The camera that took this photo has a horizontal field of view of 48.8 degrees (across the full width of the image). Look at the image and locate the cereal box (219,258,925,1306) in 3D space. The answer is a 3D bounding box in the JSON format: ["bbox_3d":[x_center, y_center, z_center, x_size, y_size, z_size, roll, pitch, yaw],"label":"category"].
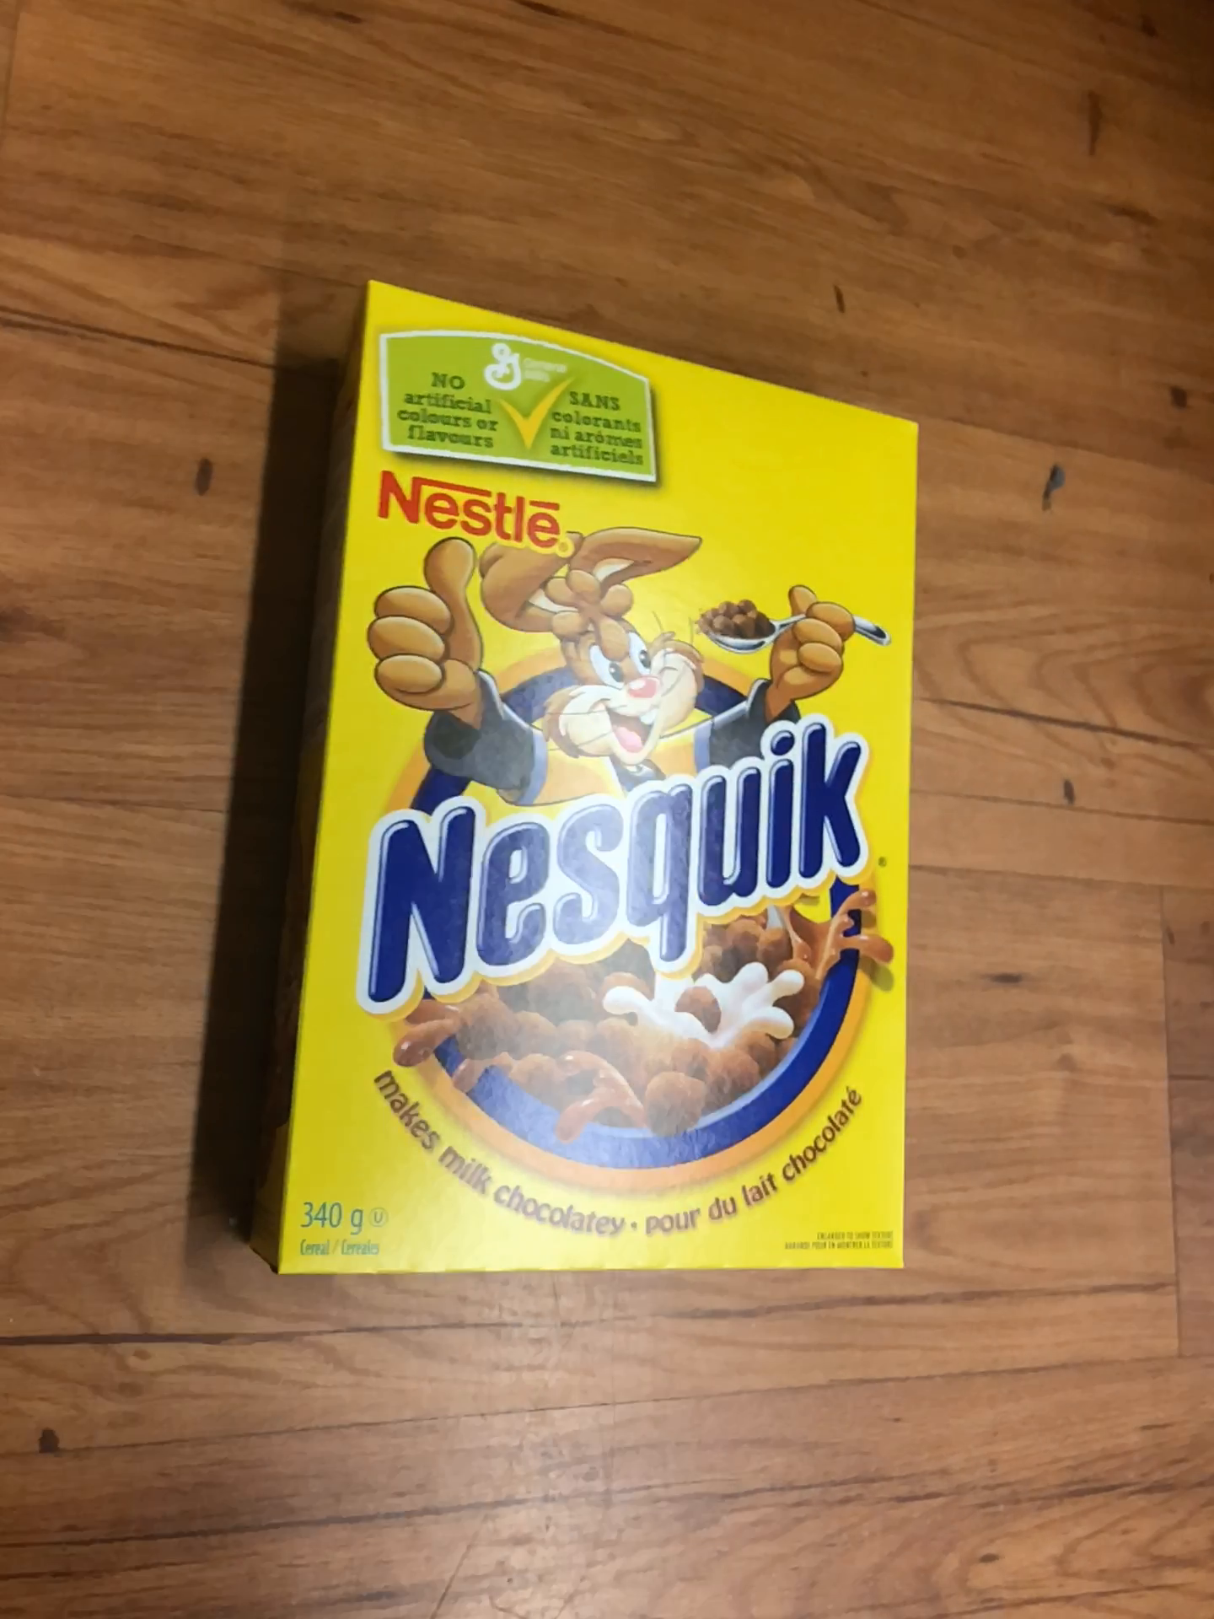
[{"bbox_3d":[-0.003,-0.002,0.427,0.200,0.060,0.290,6,81,-20],"label":"cereal box"}]
